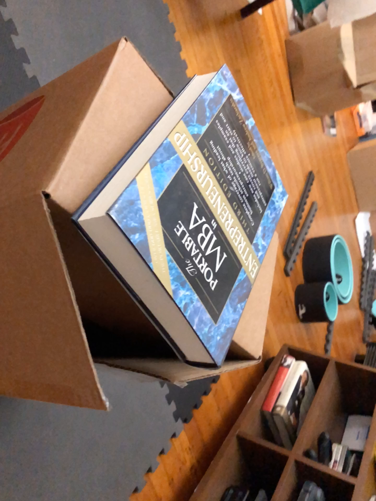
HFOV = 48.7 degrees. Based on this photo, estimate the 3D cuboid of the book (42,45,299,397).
[{"bbox_3d":[0.022,-0.038,0.406,0.210,0.060,0.271,56,41,-31],"label":"book"}]
